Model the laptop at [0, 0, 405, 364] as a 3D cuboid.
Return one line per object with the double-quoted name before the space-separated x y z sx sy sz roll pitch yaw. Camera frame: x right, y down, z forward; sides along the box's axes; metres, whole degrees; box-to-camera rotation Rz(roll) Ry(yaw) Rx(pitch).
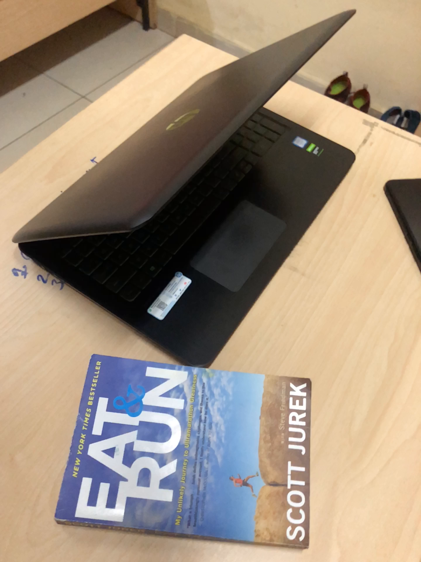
"laptop" 0.002 -0.145 0.499 0.230 0.167 0.360 30 60 14
